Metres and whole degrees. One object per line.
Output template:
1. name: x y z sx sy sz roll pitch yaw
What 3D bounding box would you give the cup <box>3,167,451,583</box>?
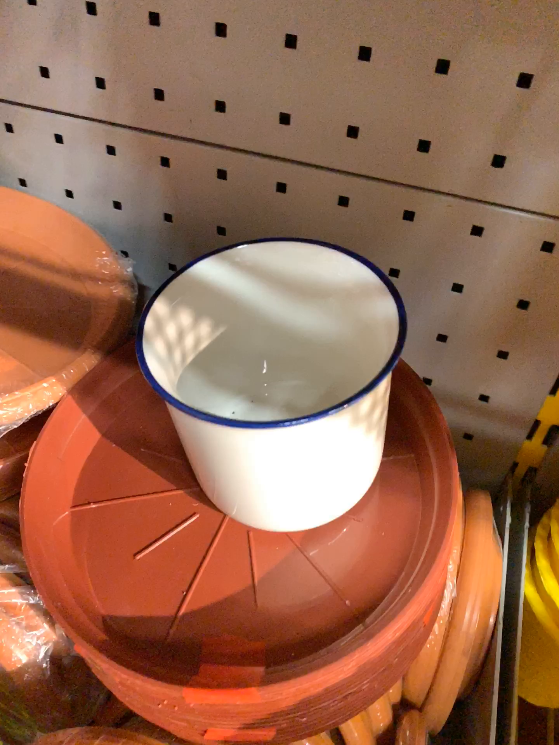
1. cup: -0.015 -0.002 0.228 0.120 0.090 0.090 25 58 21
